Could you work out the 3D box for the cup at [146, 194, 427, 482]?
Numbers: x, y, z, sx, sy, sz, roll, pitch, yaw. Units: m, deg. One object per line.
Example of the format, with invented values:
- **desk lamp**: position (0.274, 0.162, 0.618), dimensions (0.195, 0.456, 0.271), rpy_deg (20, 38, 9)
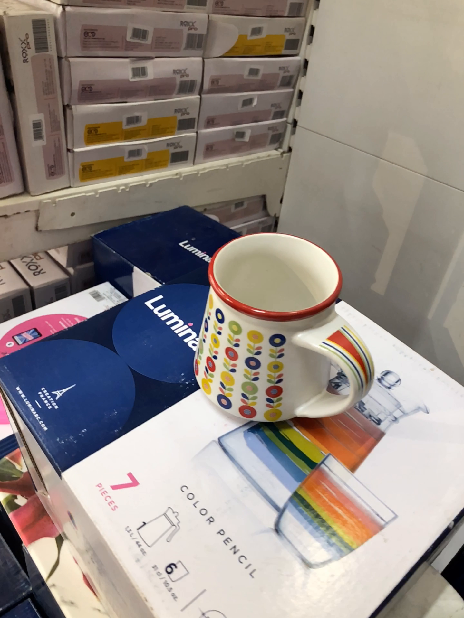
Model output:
- **cup**: position (0.024, 0.009, 0.302), dimensions (0.080, 0.089, 0.130), rpy_deg (-29, 49, -32)
